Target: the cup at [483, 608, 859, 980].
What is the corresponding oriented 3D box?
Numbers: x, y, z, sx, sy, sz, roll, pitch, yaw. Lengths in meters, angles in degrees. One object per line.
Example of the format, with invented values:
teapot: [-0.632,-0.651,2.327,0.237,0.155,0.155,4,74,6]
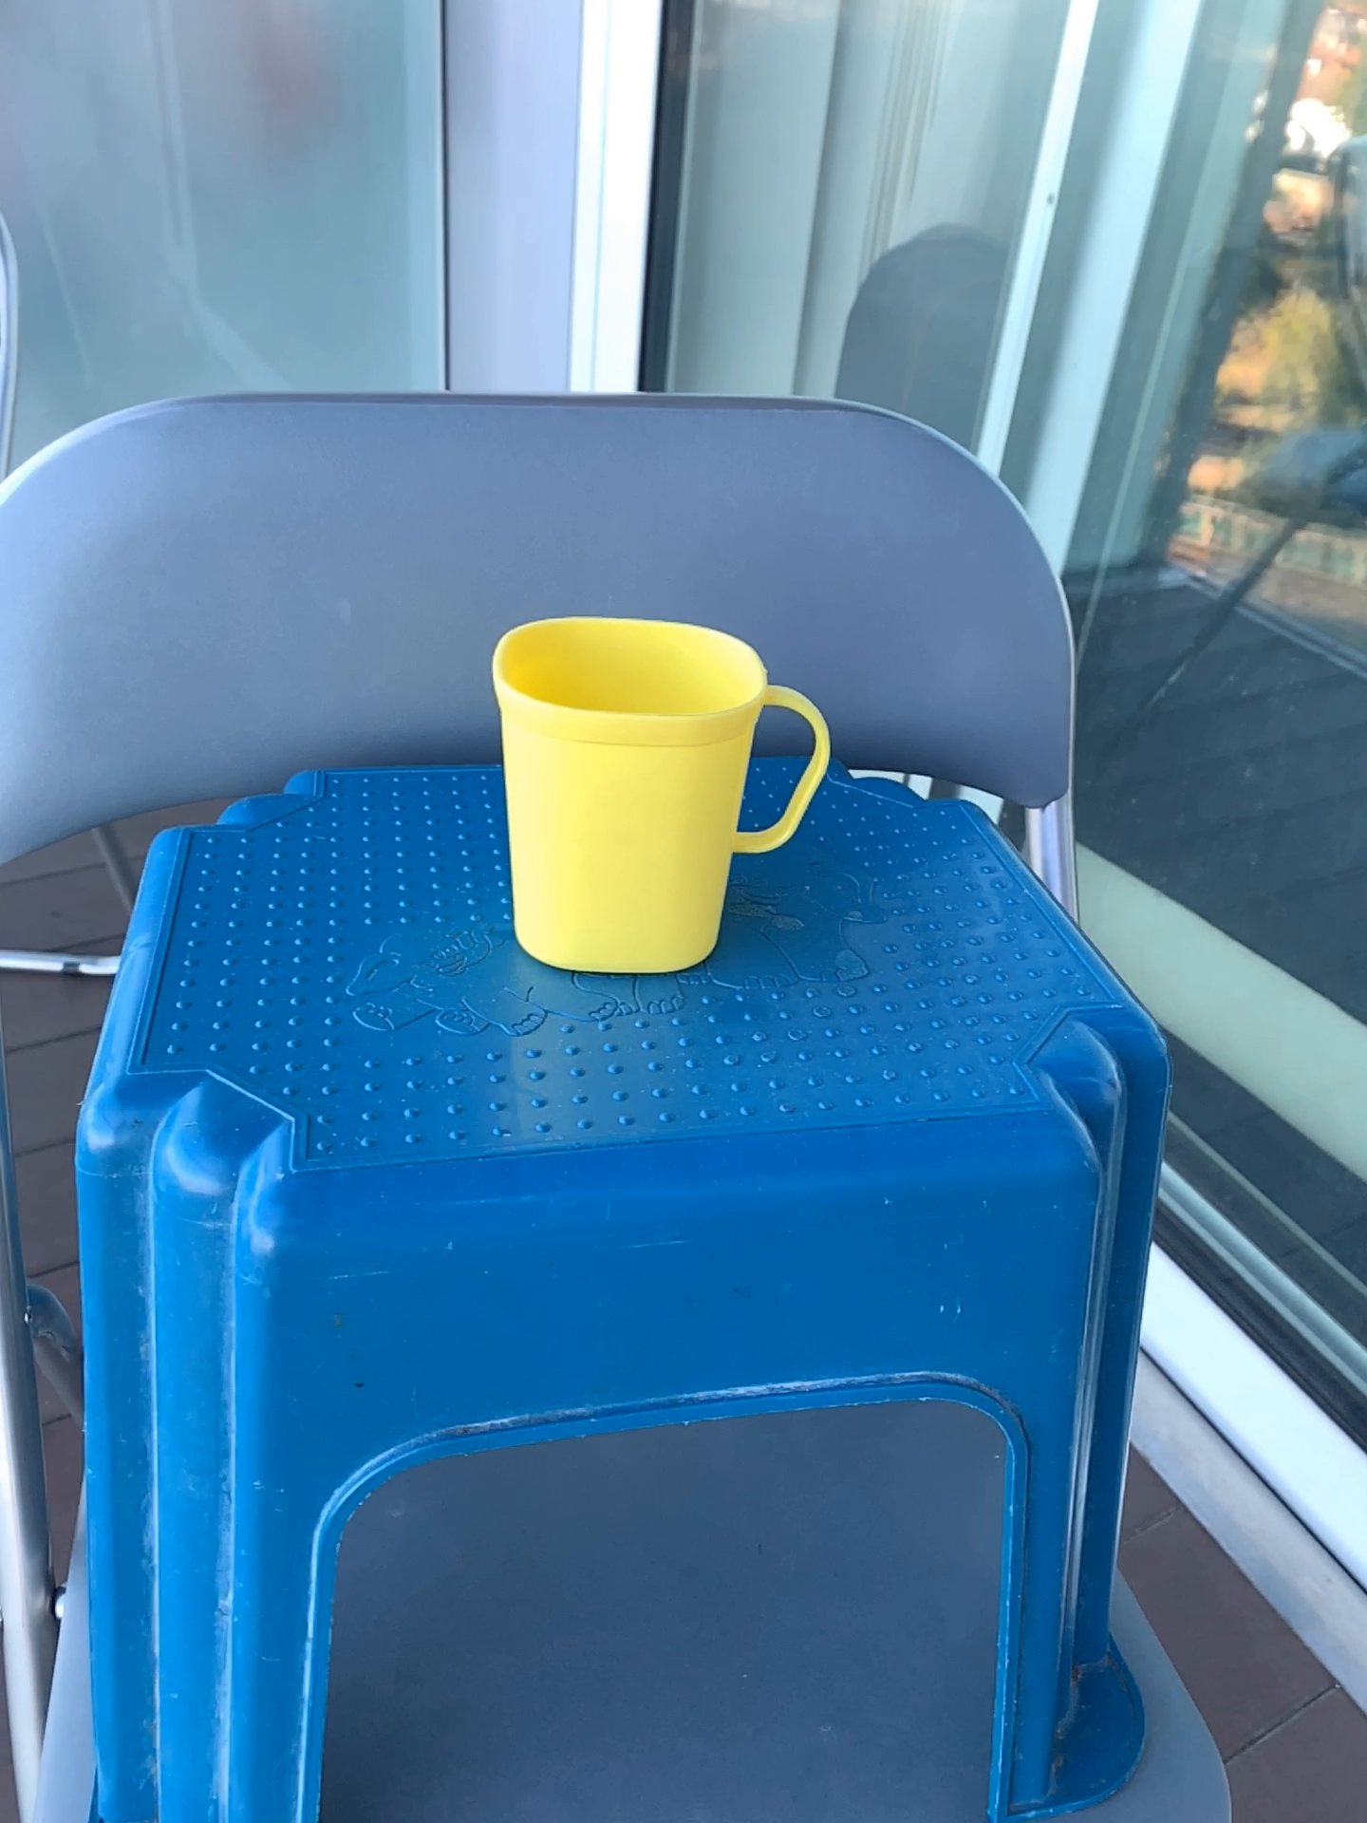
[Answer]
cup: [-0.007,-0.032,0.381,0.089,0.077,0.068,0,31,-5]
